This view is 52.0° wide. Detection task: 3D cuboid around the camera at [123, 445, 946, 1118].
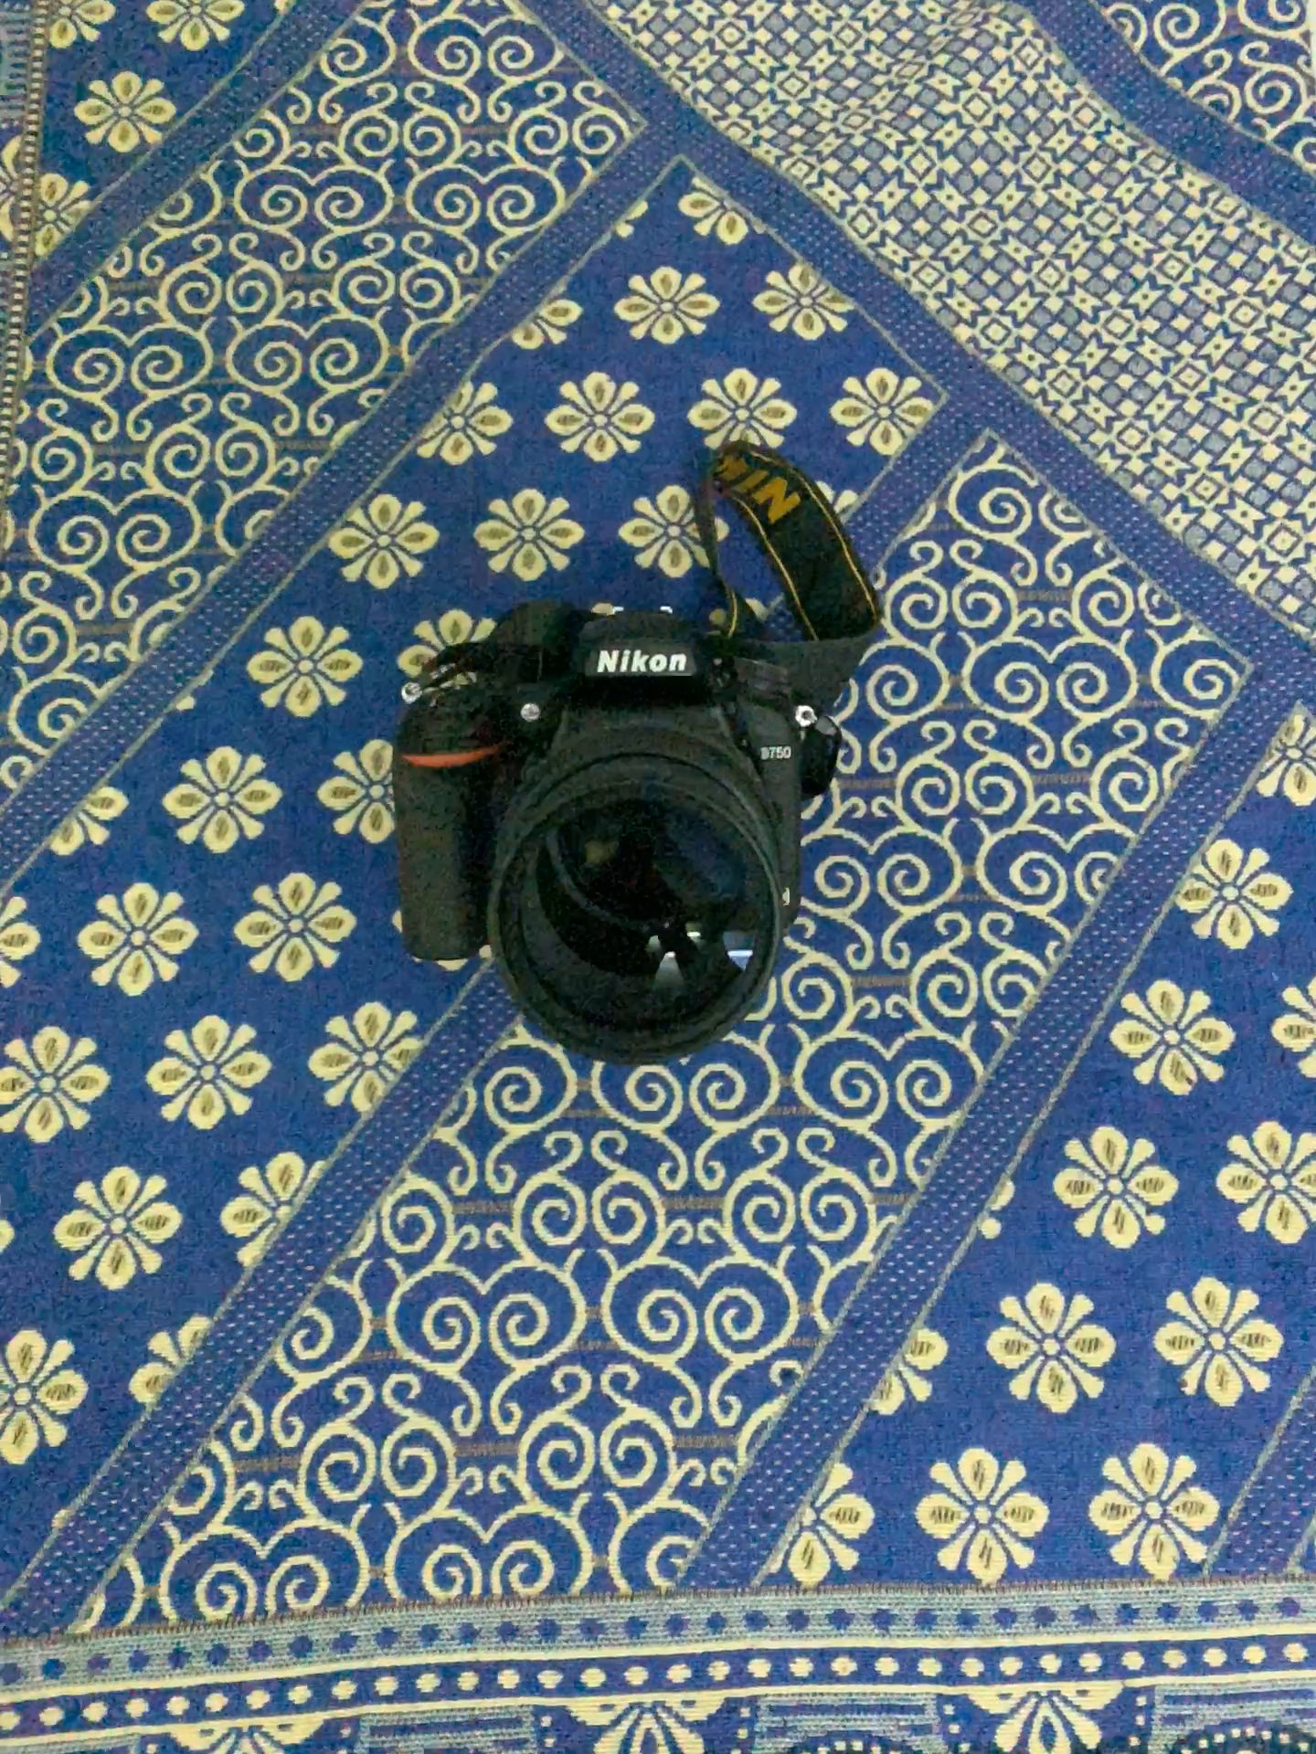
[{"bbox_3d":[-0.025,-0.020,0.361,0.160,0.191,0.130,-1,90,-1],"label":"camera"}]
